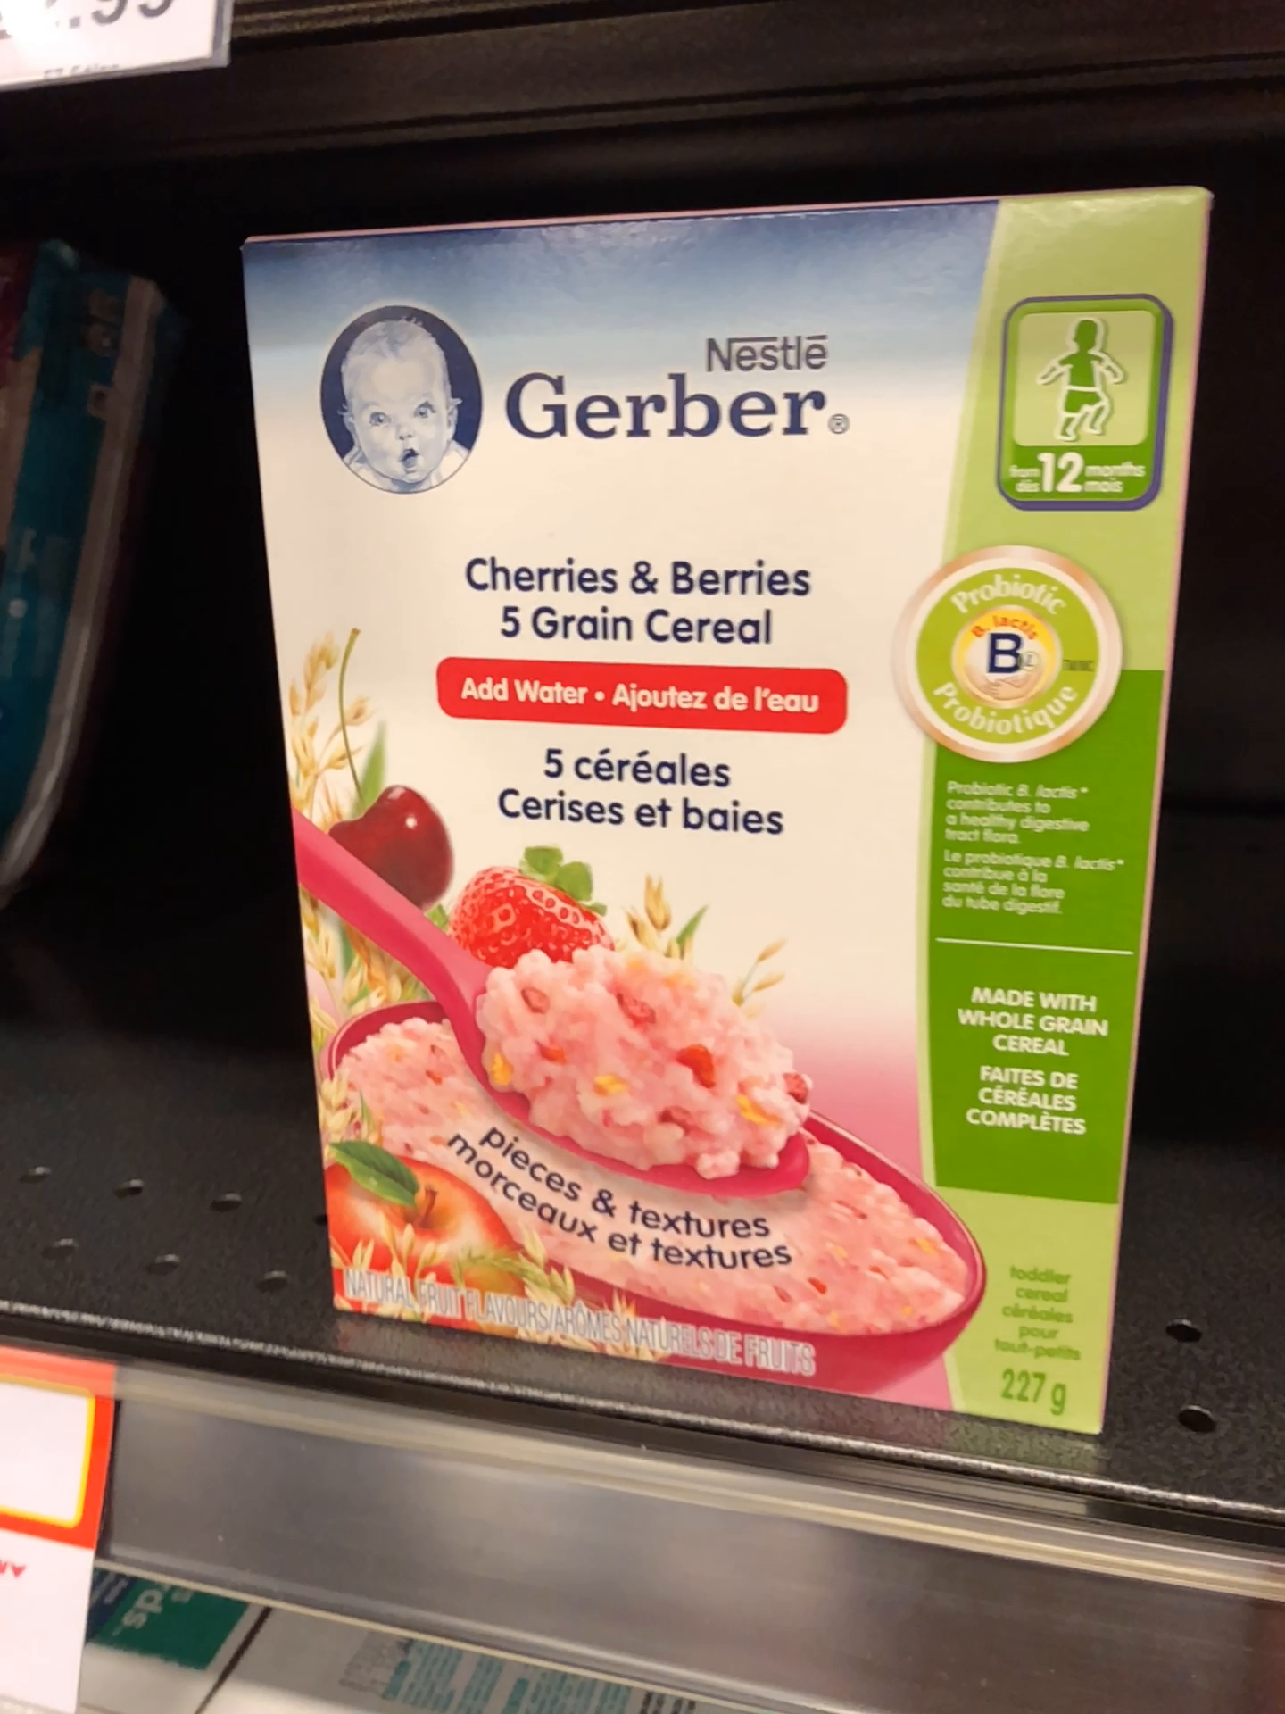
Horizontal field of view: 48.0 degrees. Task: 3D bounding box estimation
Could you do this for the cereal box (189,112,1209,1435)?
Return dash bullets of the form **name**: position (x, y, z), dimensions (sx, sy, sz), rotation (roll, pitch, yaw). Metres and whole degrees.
- **cereal box**: position (0.009, -0.010, 0.252), dimensions (0.150, 0.199, 0.040), rotation (4, 17, 16)
